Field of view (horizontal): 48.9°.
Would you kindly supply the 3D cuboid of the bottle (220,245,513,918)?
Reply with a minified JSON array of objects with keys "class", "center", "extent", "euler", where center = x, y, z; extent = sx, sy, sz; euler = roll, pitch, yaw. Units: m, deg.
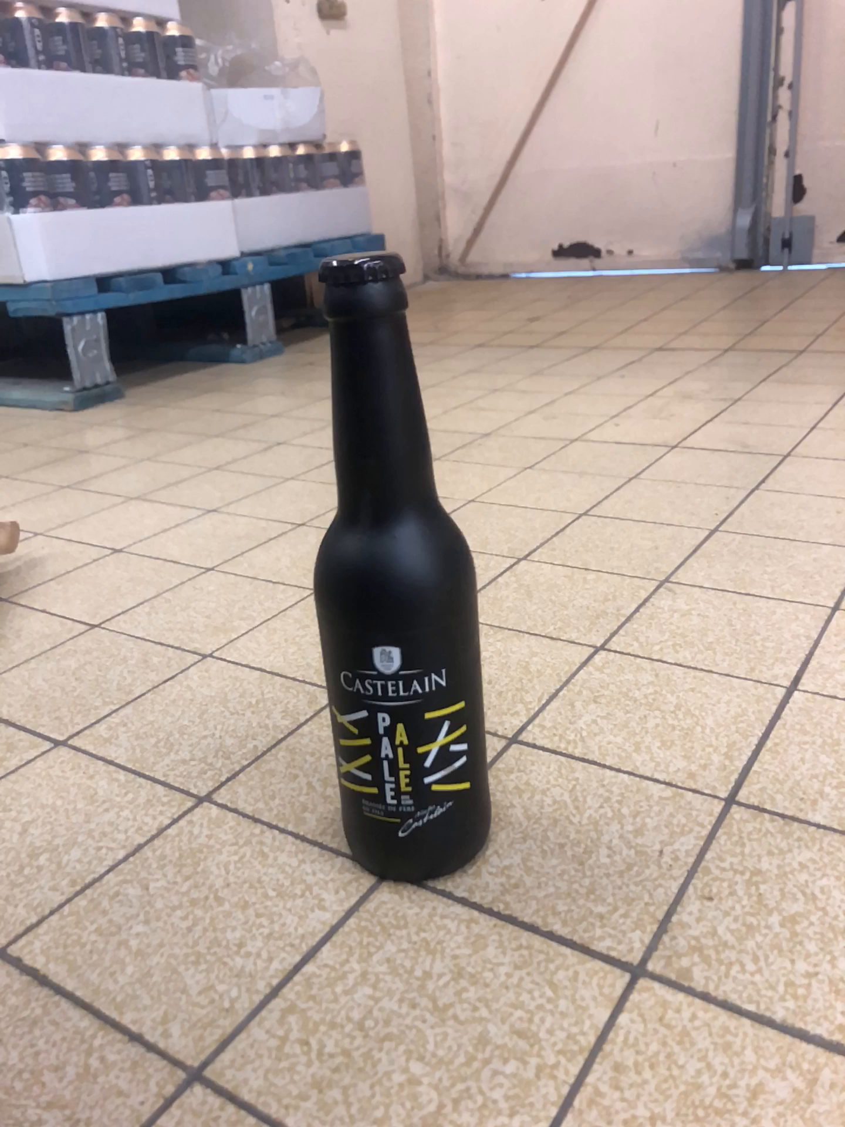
[{"class":"bottle","center":[-0.011,0.009,0.323],"extent":[0.070,0.219,0.070],"euler":[-4,21,2]}]
